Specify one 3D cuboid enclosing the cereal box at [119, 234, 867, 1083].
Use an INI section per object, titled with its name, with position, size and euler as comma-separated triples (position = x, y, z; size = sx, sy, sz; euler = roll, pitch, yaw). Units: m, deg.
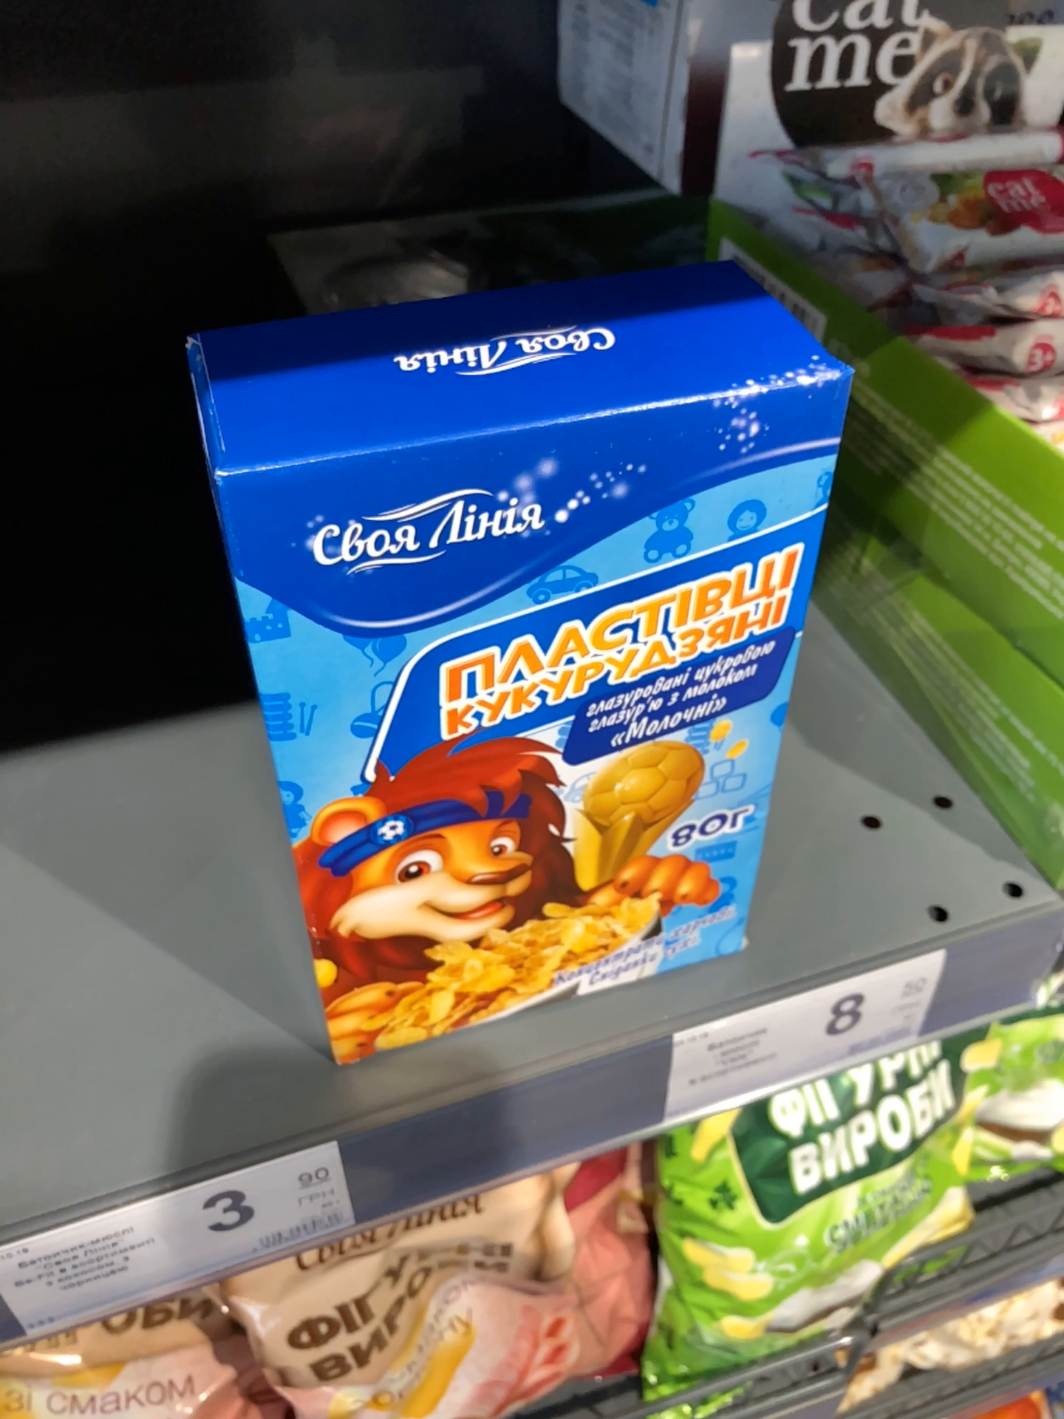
[cereal box]
position = -0.010, -0.004, 0.269
size = 0.120, 0.169, 0.060
euler = -13, 44, -15
